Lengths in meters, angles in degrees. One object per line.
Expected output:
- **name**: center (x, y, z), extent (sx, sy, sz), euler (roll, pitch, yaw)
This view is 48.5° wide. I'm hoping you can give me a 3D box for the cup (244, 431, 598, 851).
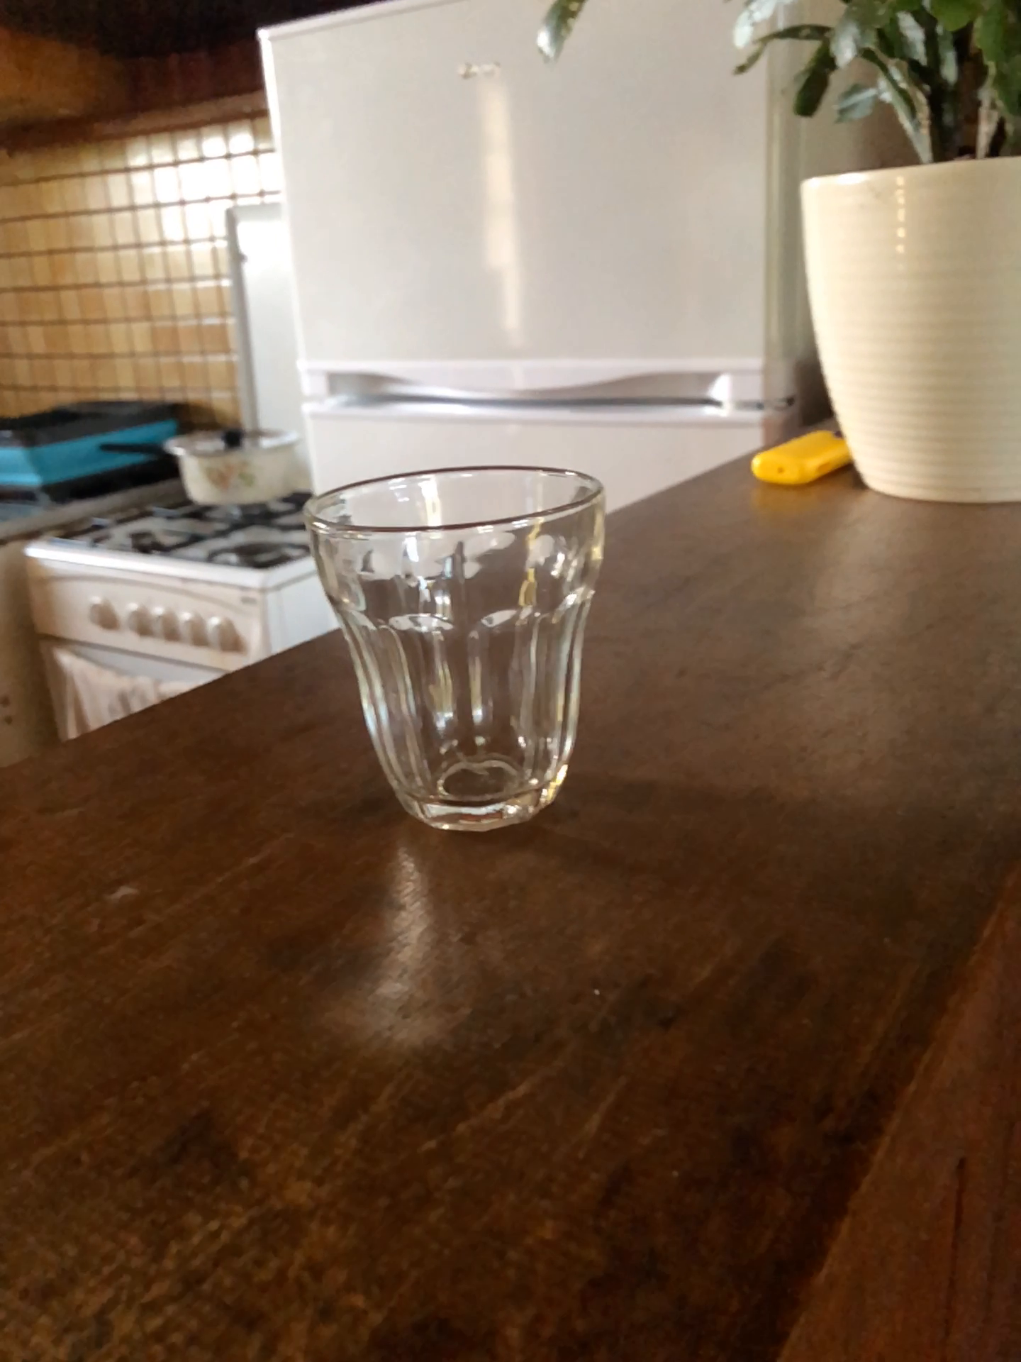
- **cup**: center (-0.017, -0.014, 0.282), extent (0.070, 0.080, 0.080), euler (-3, 20, 2)
